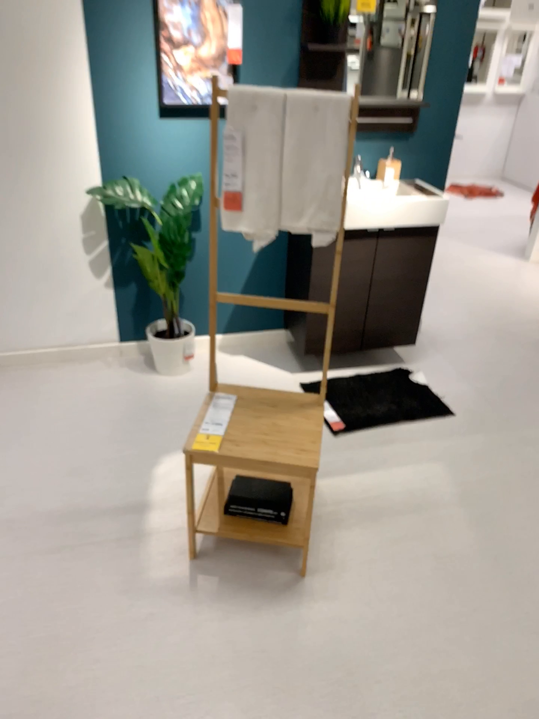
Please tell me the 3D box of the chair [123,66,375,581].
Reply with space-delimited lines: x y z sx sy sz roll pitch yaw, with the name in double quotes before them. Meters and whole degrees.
"chair" -0.028 -0.054 1.532 0.460 1.294 0.472 7 31 7
